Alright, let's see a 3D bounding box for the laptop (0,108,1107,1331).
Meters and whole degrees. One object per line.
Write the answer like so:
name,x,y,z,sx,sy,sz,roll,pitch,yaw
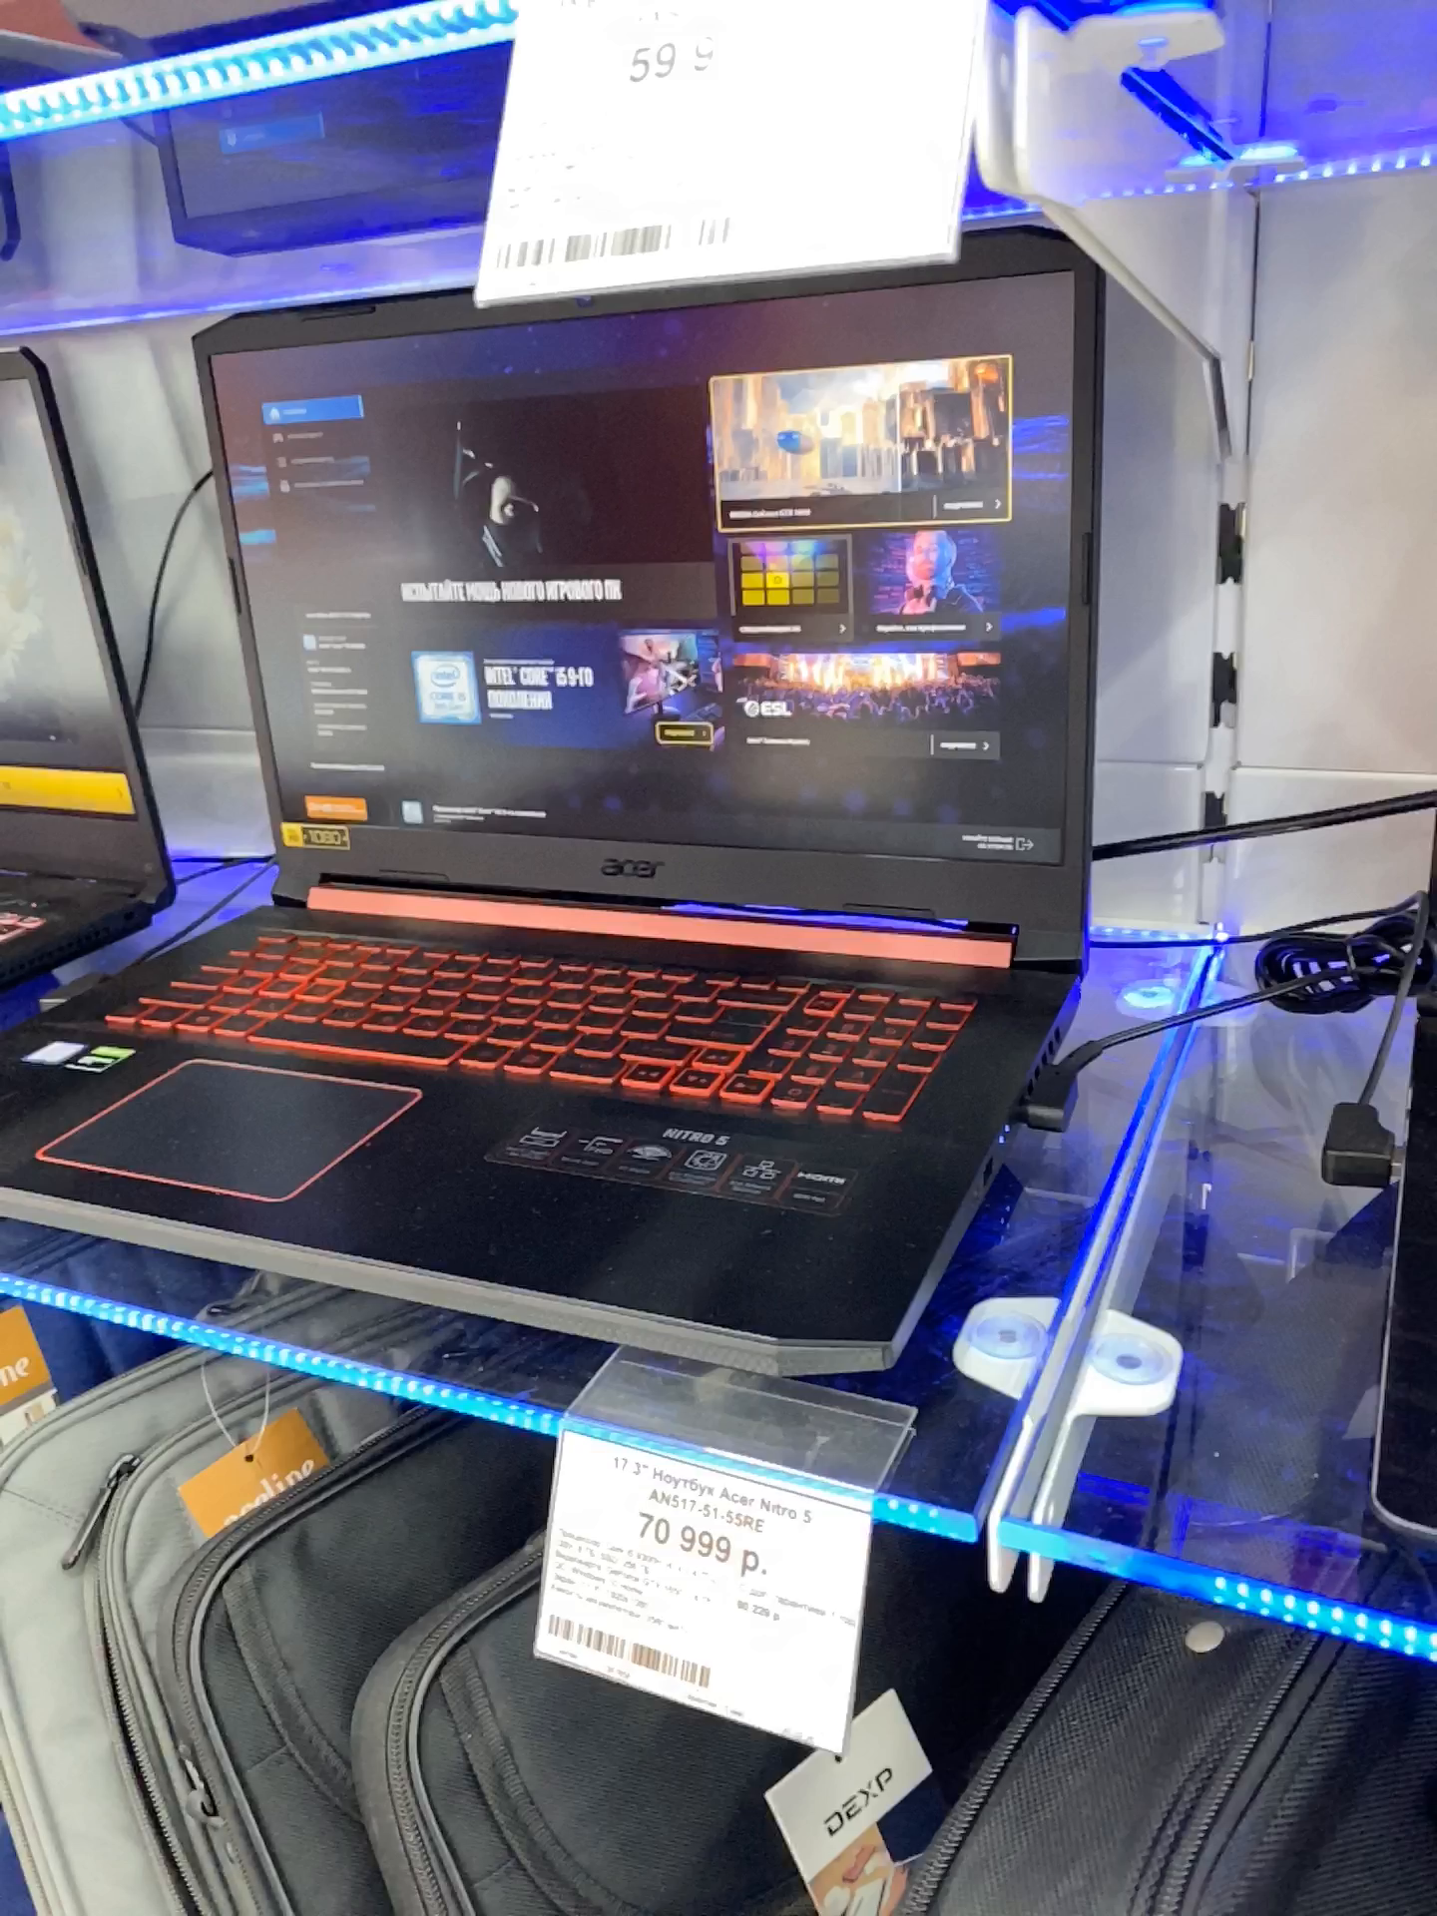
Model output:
laptop,-0.099,-0.094,0.518,0.406,0.268,0.284,5,21,23
